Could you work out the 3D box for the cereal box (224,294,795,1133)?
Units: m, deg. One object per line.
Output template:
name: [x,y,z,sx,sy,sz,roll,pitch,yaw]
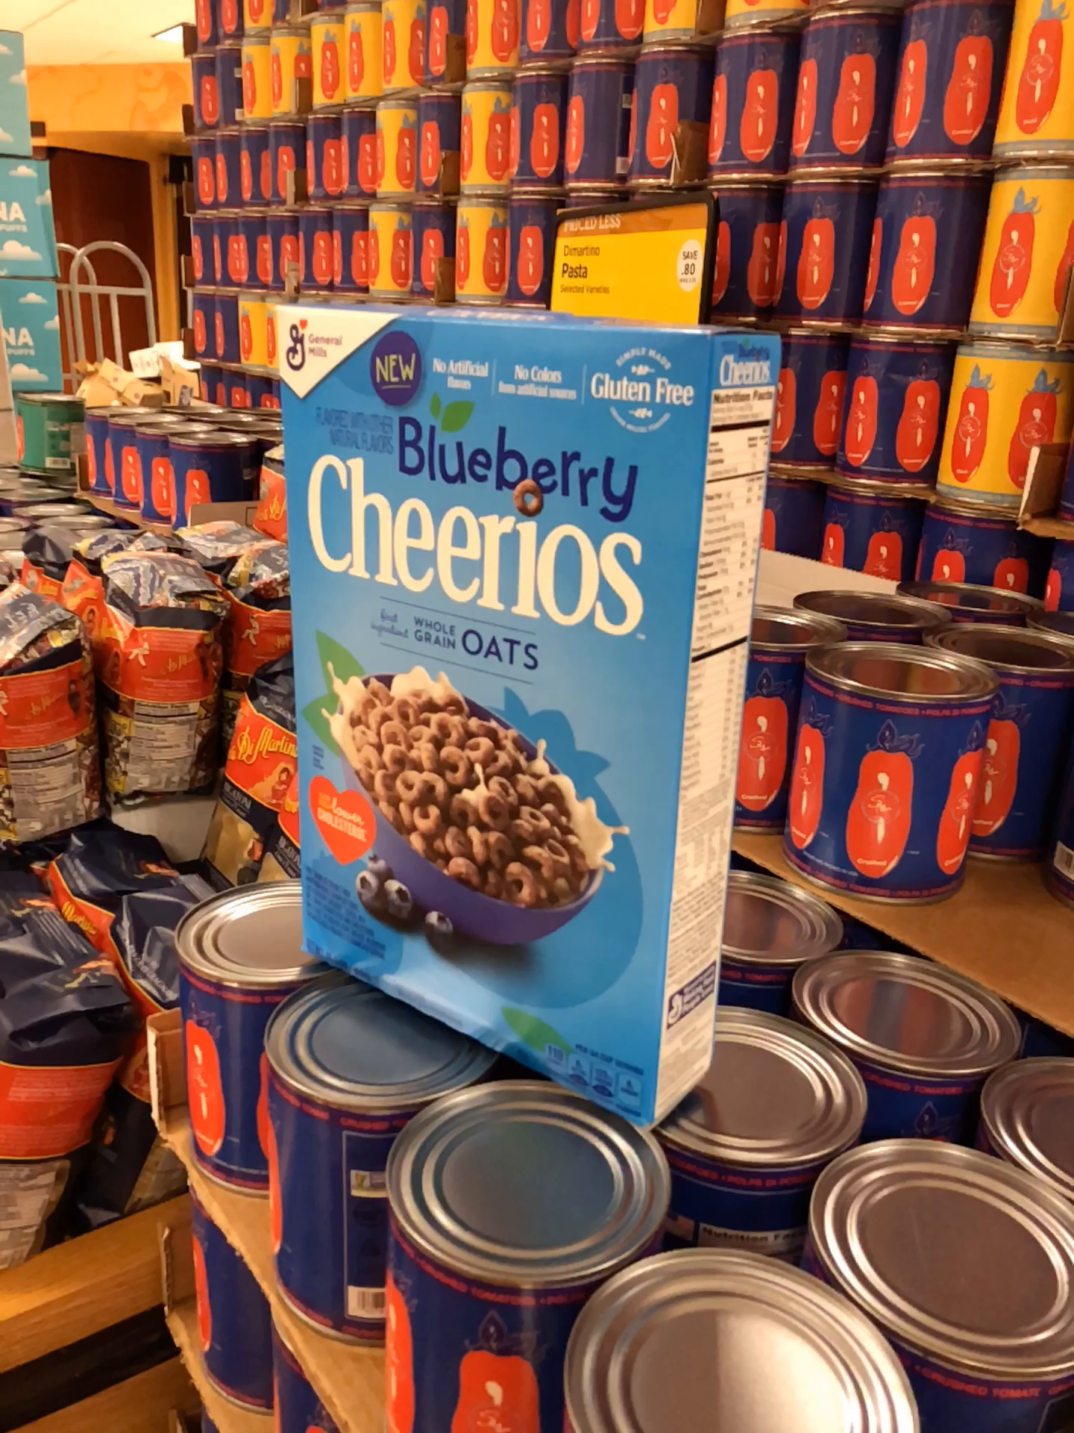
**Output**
cereal box: [-0.023,-0.014,0.461,0.210,0.278,0.060,16,24,34]
